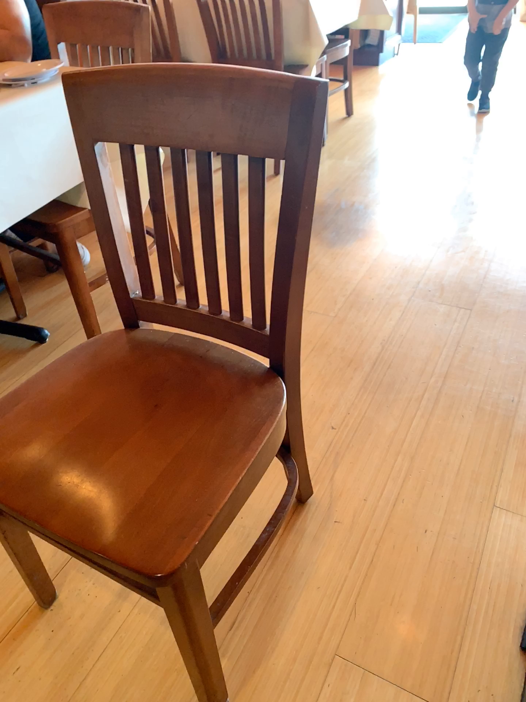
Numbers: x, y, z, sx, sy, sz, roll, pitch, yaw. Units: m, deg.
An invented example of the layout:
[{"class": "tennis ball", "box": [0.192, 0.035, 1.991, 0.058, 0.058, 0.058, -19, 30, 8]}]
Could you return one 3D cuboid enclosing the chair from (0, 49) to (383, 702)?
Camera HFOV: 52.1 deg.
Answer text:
[{"class": "chair", "box": [-0.178, 0.053, 0.889, 0.541, 0.875, 0.572, 15, 42, 24]}]
